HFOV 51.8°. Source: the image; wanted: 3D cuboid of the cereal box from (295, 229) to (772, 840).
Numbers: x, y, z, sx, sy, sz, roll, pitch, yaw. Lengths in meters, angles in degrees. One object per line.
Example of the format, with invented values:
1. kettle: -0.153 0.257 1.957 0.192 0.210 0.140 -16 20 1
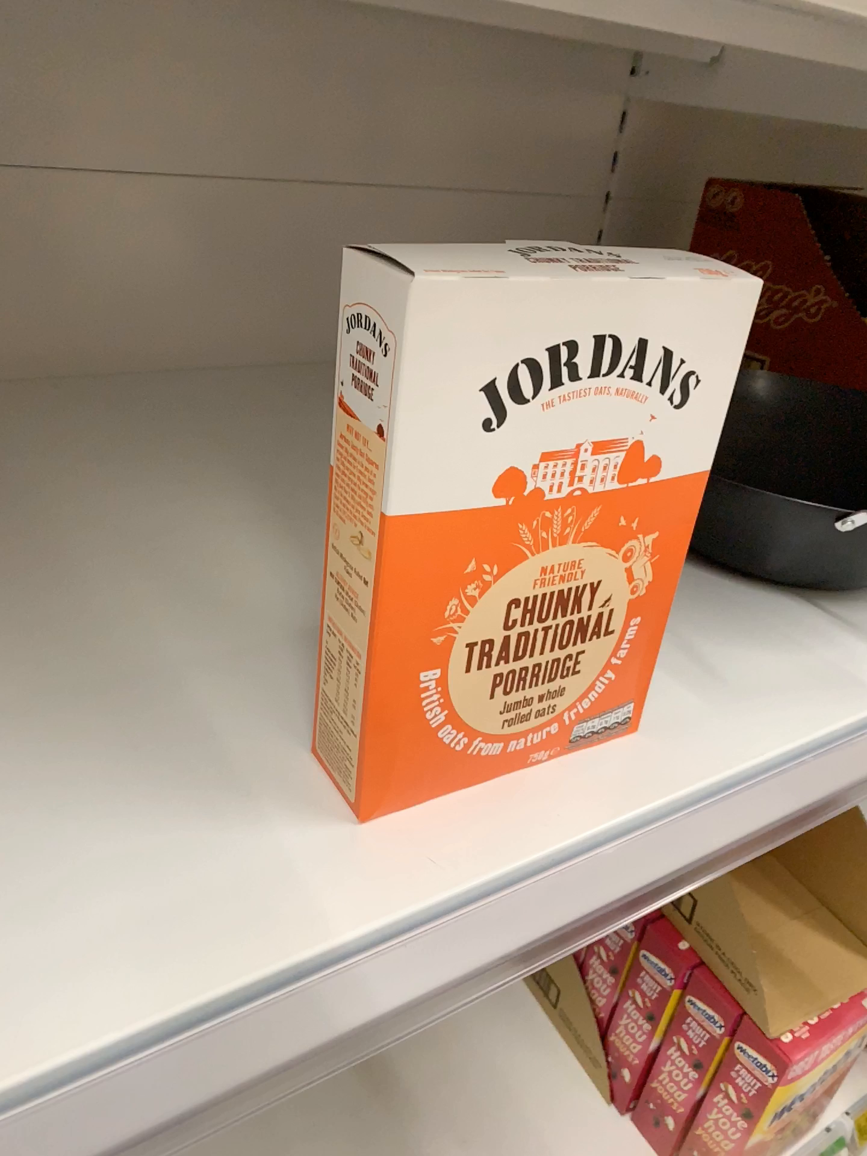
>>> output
1. cereal box: 0.039 -0.020 0.436 0.191 0.268 0.060 -11 34 -30
